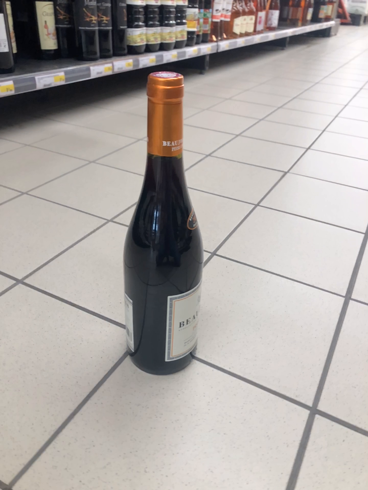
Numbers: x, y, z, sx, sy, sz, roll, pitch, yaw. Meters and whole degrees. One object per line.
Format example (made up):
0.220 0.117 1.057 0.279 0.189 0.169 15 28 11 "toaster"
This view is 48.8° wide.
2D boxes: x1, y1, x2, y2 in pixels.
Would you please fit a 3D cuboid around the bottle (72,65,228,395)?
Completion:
-0.028 -0.004 0.381 0.090 0.288 0.091 2 31 -1 "bottle"
